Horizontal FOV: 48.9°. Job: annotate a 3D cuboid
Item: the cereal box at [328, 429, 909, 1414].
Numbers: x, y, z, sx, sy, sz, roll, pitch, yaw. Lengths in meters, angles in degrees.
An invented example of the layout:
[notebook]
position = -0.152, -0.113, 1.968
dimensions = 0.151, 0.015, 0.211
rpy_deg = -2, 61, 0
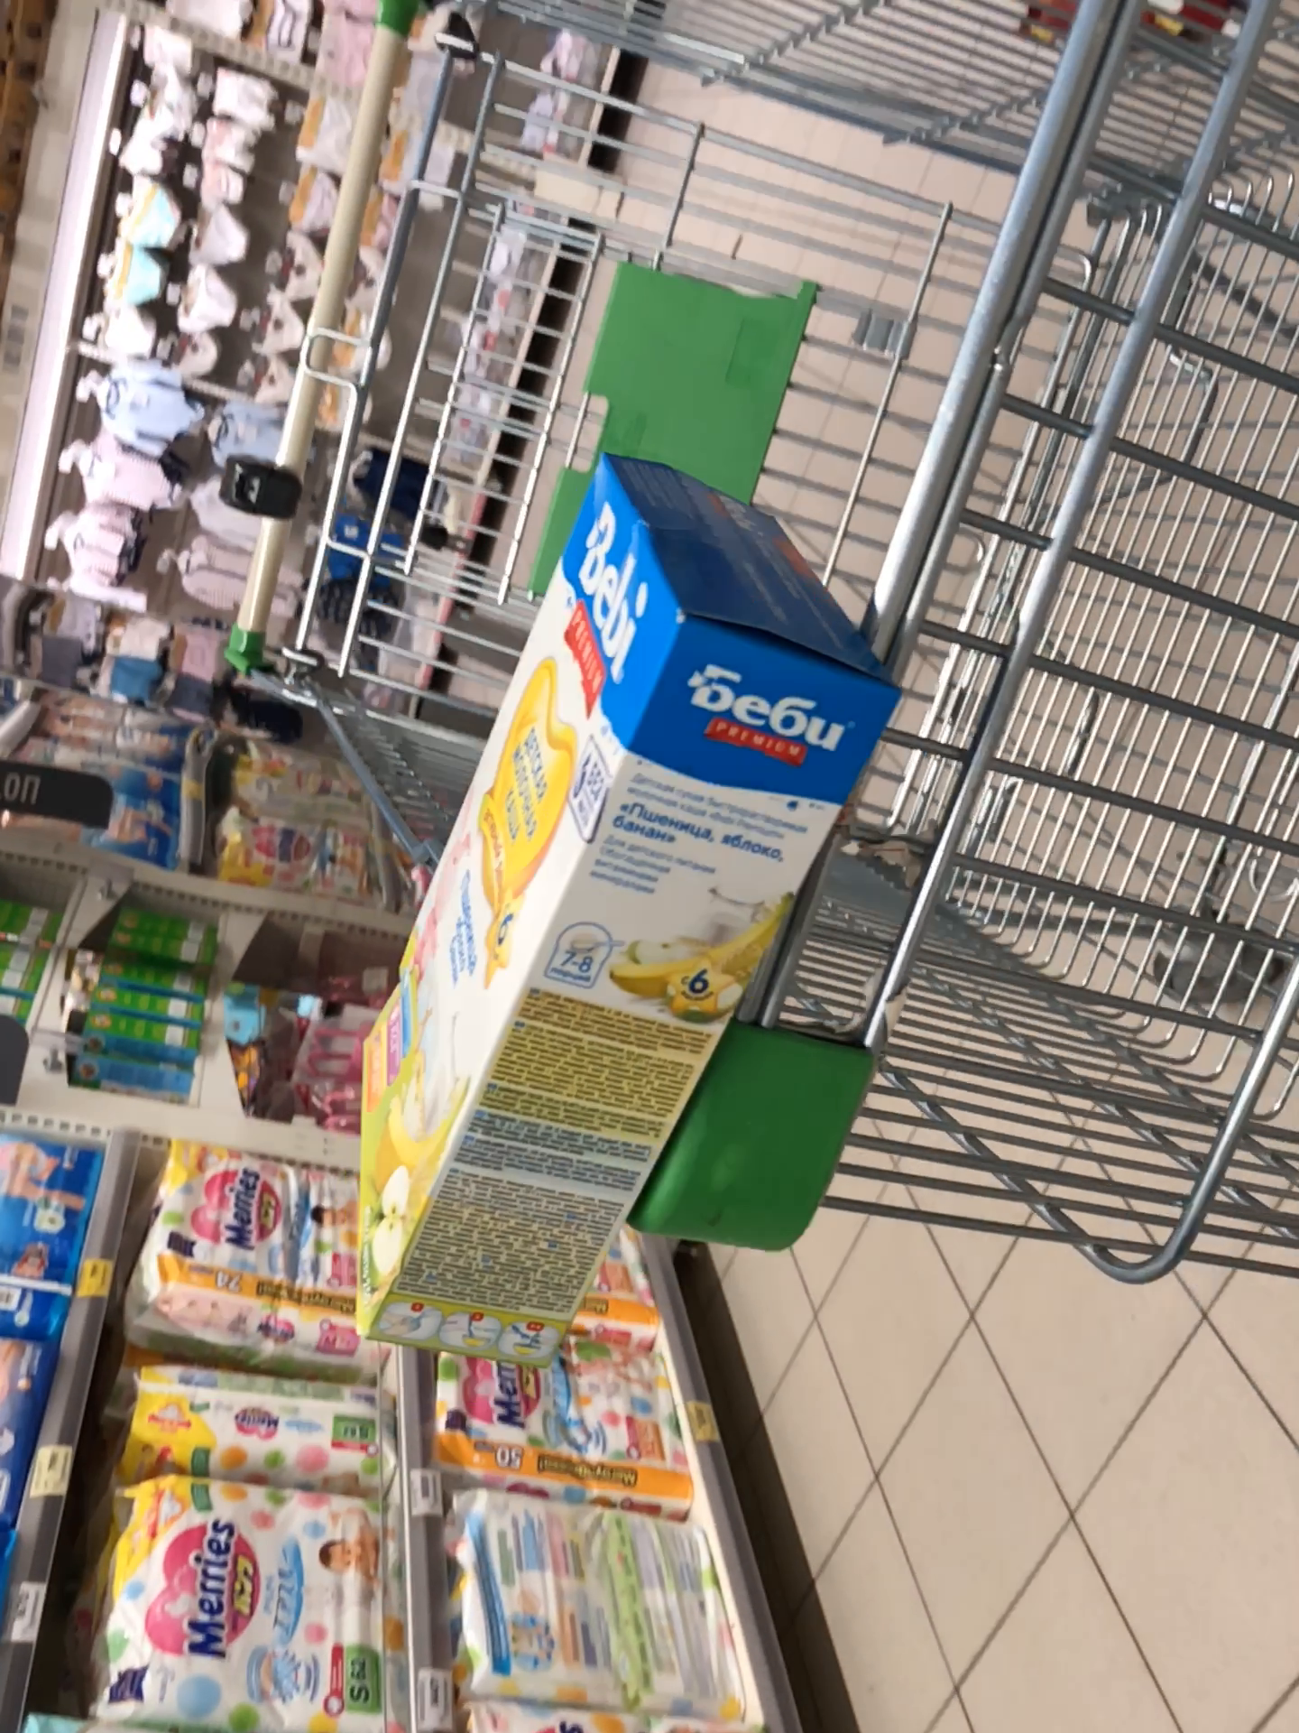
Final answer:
[cereal box]
position = -0.023, 0.012, 0.365
dimensions = 0.130, 0.050, 0.210
rpy_deg = -104, 35, -59
